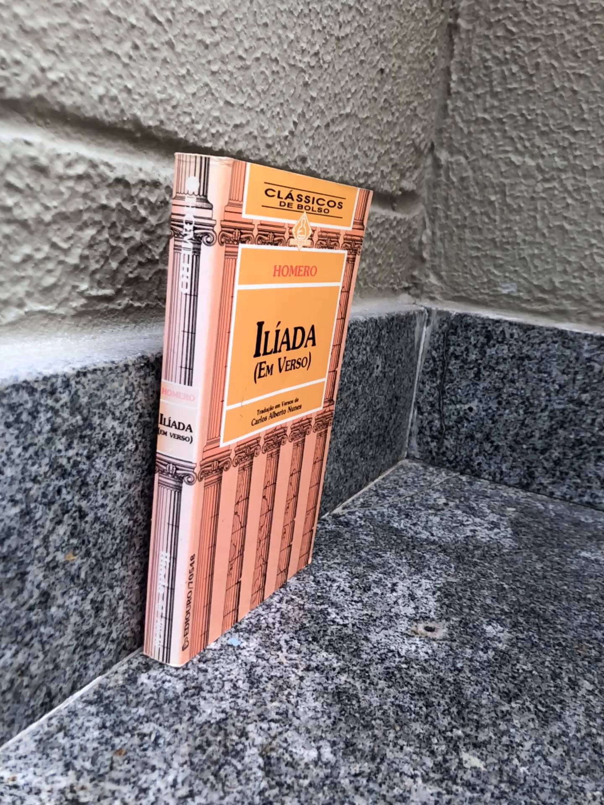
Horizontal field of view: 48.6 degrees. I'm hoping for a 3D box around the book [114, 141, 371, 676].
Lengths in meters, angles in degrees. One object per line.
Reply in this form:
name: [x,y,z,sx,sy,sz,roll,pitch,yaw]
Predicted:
book: [-0.025,-0.001,0.331,0.030,0.219,0.140,15,17,26]
